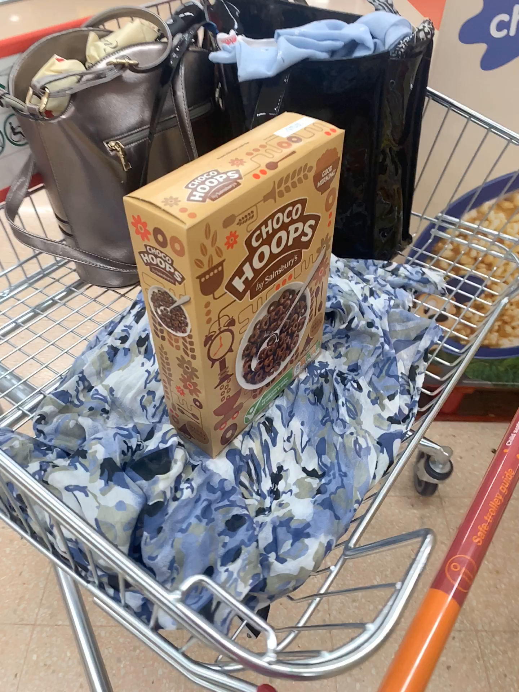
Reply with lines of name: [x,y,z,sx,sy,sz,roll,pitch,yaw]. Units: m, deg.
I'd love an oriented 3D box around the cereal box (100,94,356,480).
cereal box: [-0.014,-0.048,0.508,0.070,0.297,0.221,28,50,26]
